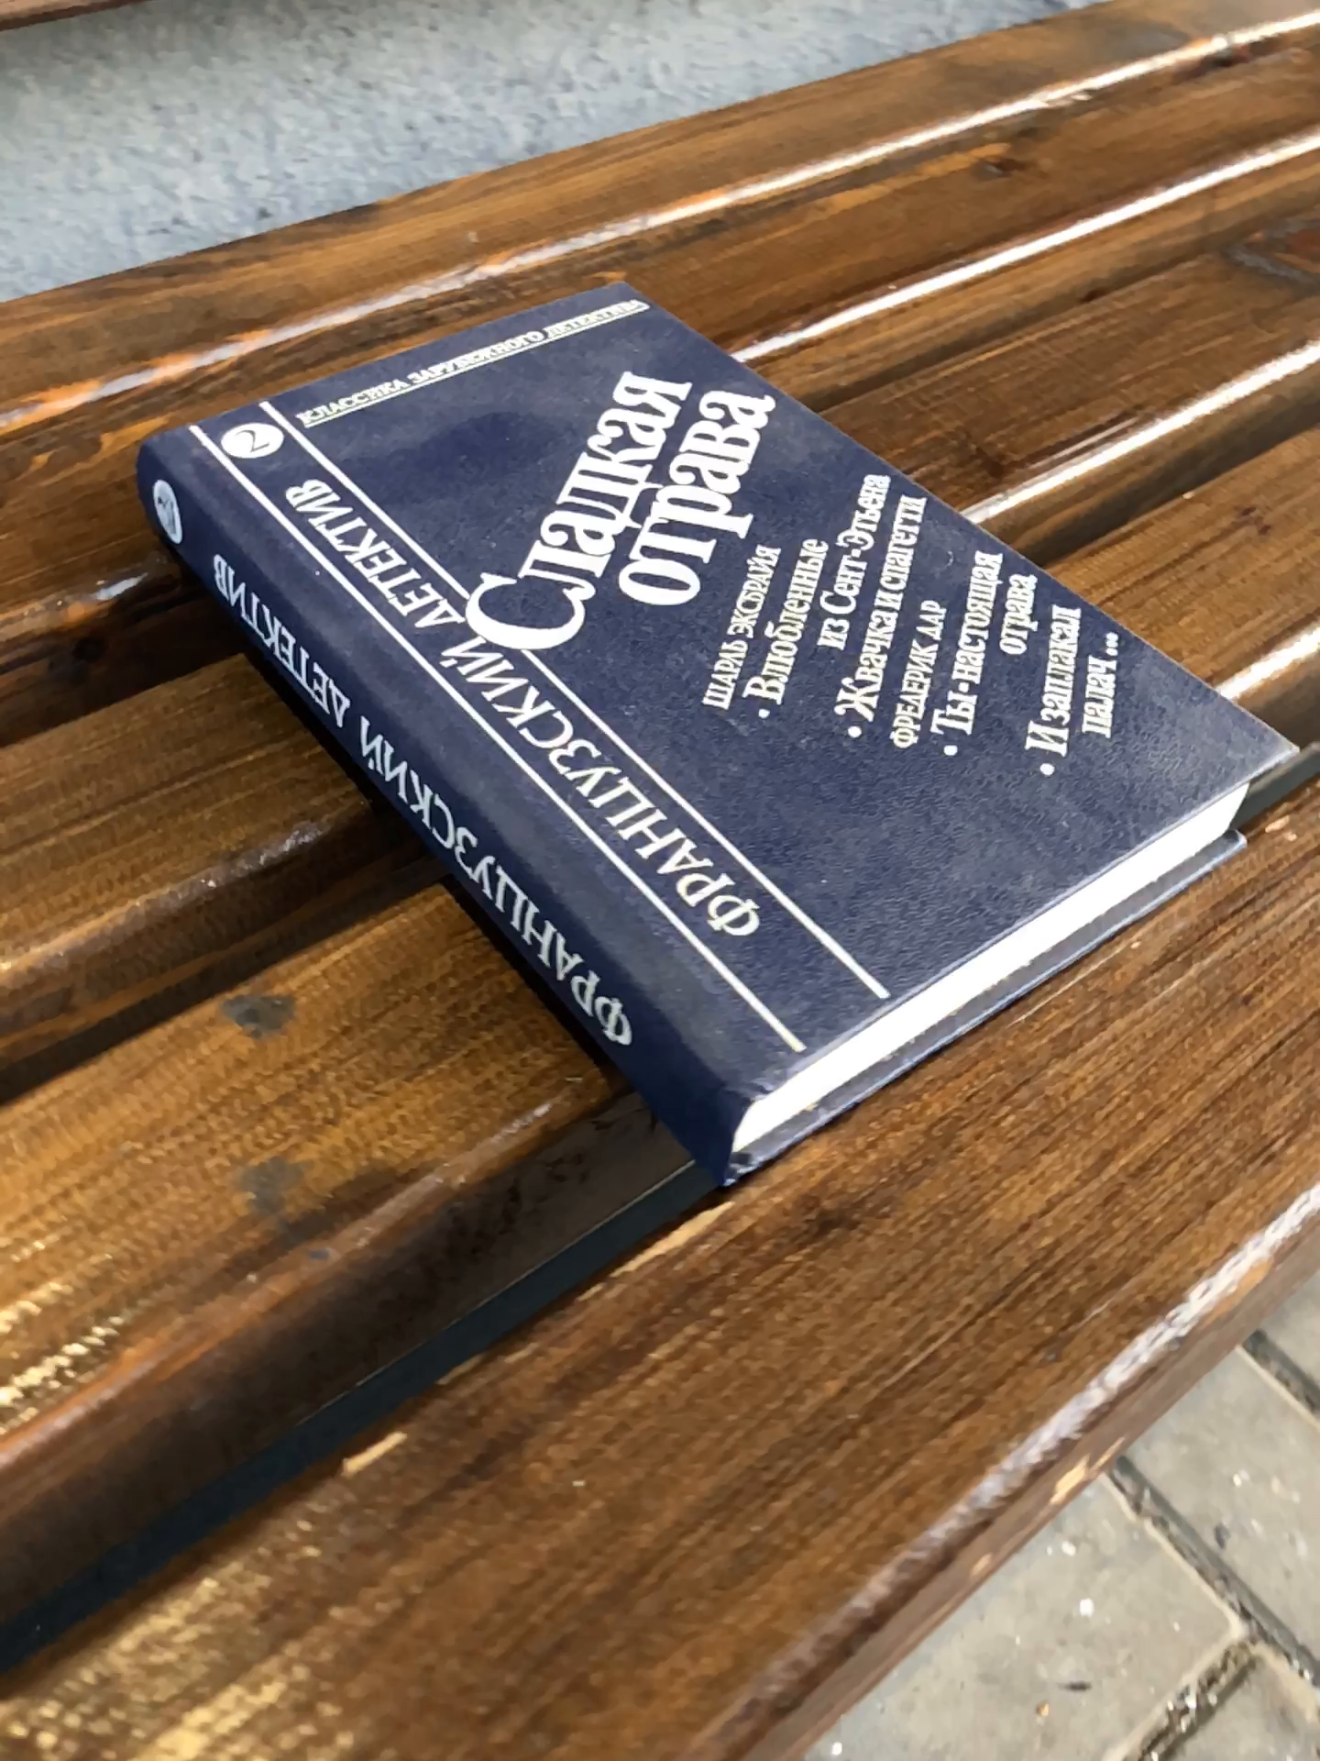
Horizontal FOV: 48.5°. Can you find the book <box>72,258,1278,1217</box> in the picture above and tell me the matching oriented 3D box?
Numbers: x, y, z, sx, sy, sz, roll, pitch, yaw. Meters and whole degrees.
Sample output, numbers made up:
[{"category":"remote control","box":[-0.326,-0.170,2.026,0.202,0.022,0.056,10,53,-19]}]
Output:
[{"category":"book","box":[-0.008,-0.052,0.297,0.133,0.030,0.212,-29,57,-26]}]
